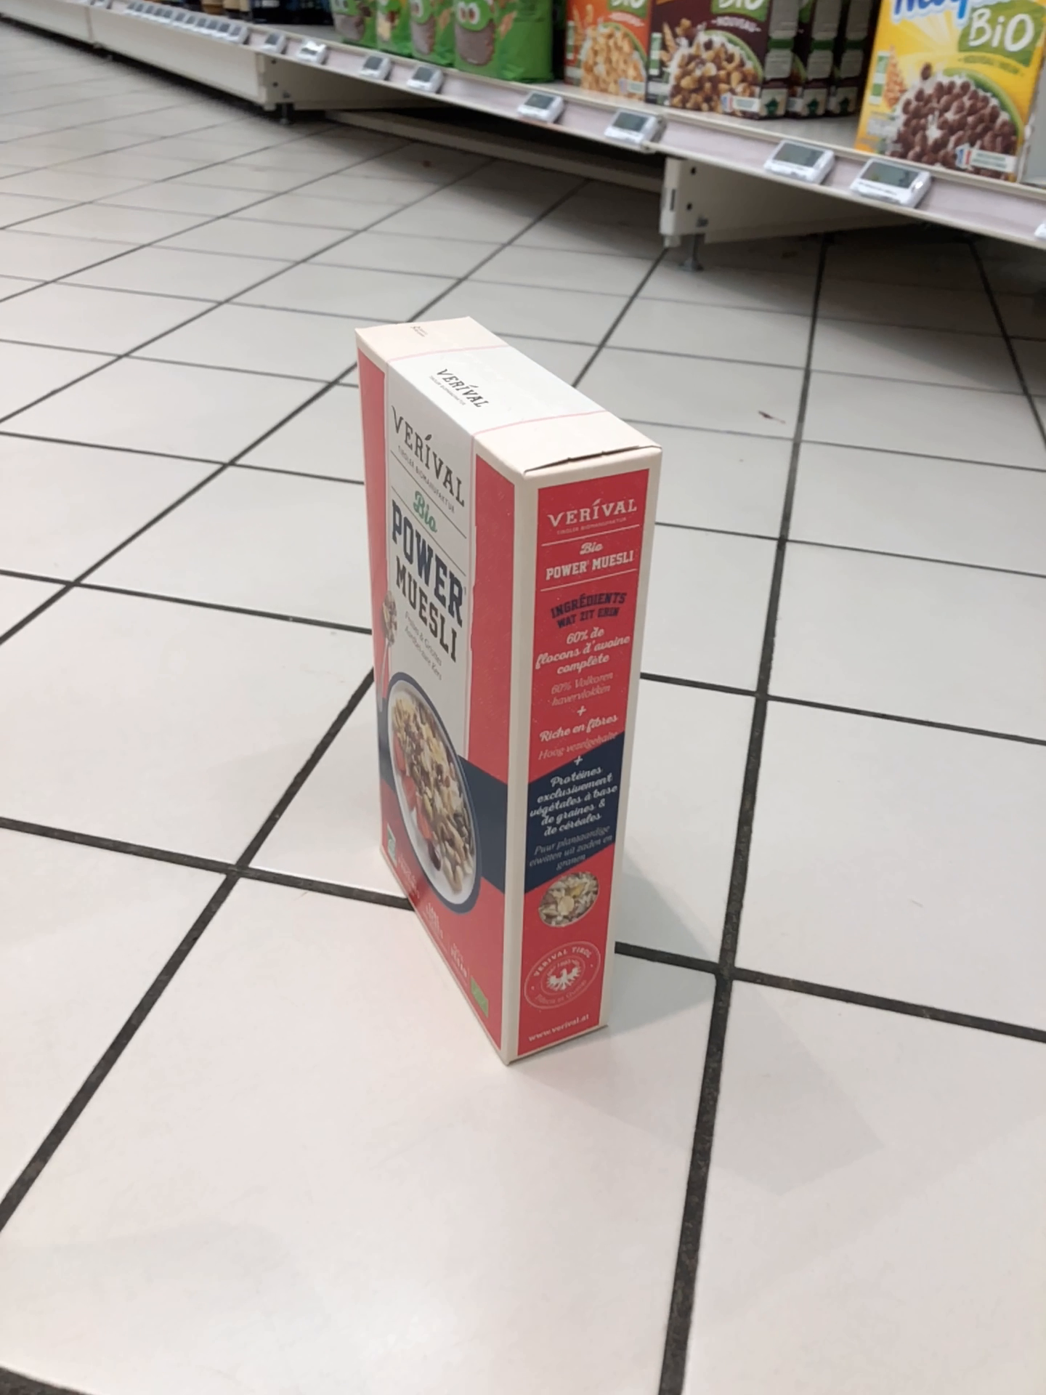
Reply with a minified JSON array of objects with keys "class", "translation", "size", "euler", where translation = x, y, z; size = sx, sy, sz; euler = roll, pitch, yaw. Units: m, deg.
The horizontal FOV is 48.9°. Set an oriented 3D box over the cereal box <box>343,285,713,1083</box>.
[{"class":"cereal box","translation":[-0.011,-0.006,0.383],"size":[0.050,0.219,0.140],"euler":[-12,35,-22]}]
